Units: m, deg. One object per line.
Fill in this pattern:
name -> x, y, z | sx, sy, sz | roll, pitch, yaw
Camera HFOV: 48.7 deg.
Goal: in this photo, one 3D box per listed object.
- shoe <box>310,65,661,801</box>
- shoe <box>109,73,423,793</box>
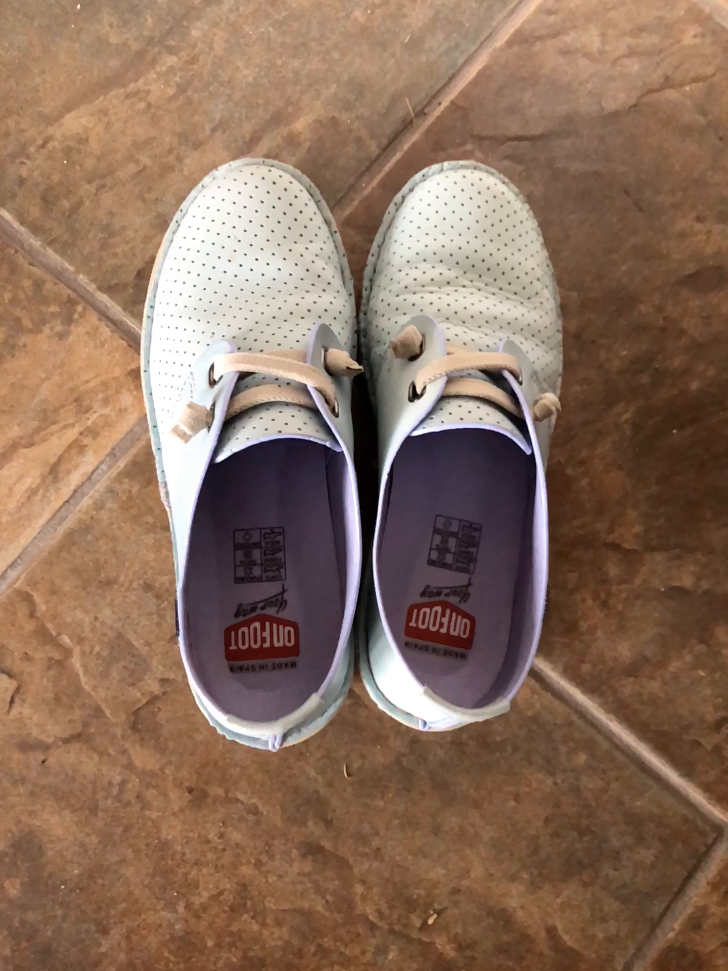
shoe -> 0.043, -0.018, 0.330 | 0.100, 0.100, 0.250 | 6, 84, -6
shoe -> -0.041, -0.020, 0.331 | 0.100, 0.100, 0.250 | -2, 85, -7
